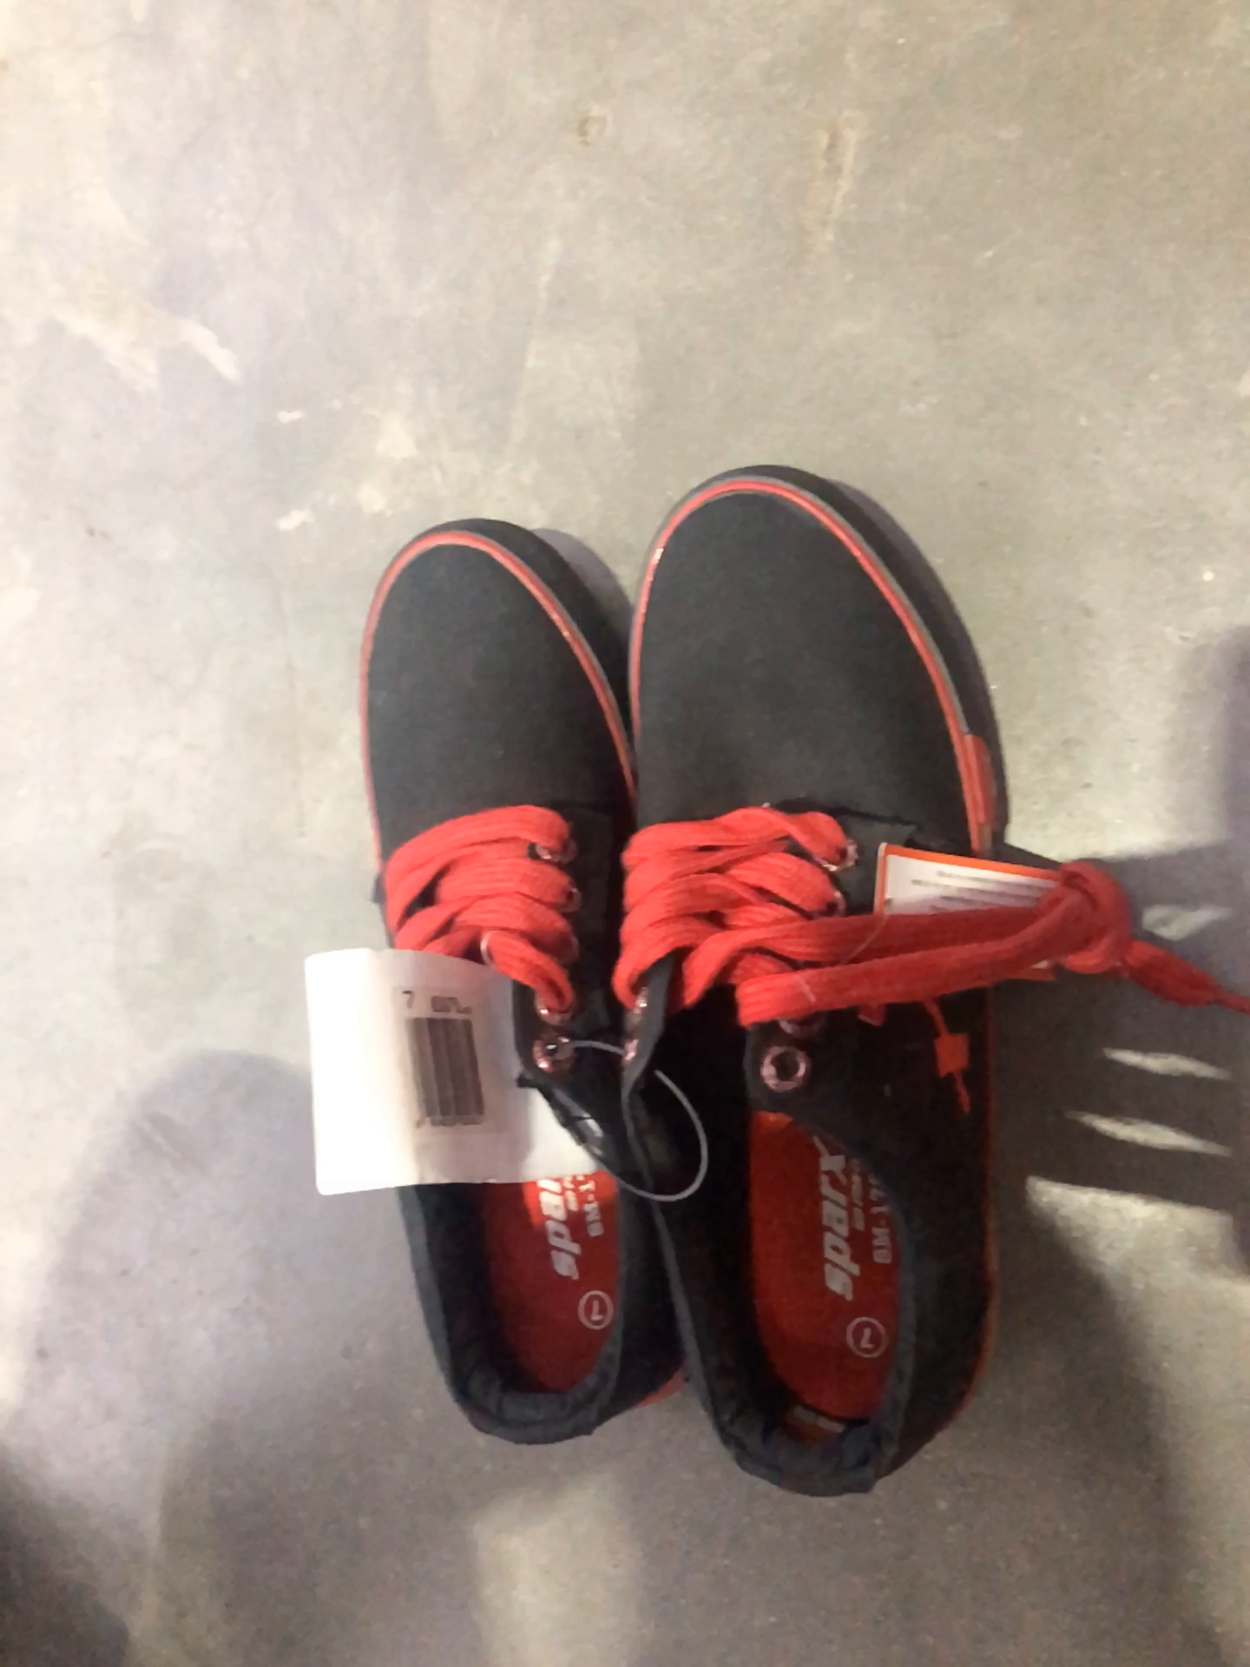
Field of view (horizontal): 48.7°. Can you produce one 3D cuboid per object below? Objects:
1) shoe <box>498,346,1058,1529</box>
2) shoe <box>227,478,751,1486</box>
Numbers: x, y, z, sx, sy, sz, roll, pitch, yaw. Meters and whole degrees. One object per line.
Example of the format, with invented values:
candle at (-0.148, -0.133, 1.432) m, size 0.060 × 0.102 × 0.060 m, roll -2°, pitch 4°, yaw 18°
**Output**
shoe at (0.043, 0.024, 0.359) m, size 0.100 × 0.100 × 0.250 m, roll -6°, pitch 85°, yaw 26°
shoe at (-0.035, 0.041, 0.408) m, size 0.100 × 0.100 × 0.250 m, roll -9°, pitch 84°, yaw 10°
